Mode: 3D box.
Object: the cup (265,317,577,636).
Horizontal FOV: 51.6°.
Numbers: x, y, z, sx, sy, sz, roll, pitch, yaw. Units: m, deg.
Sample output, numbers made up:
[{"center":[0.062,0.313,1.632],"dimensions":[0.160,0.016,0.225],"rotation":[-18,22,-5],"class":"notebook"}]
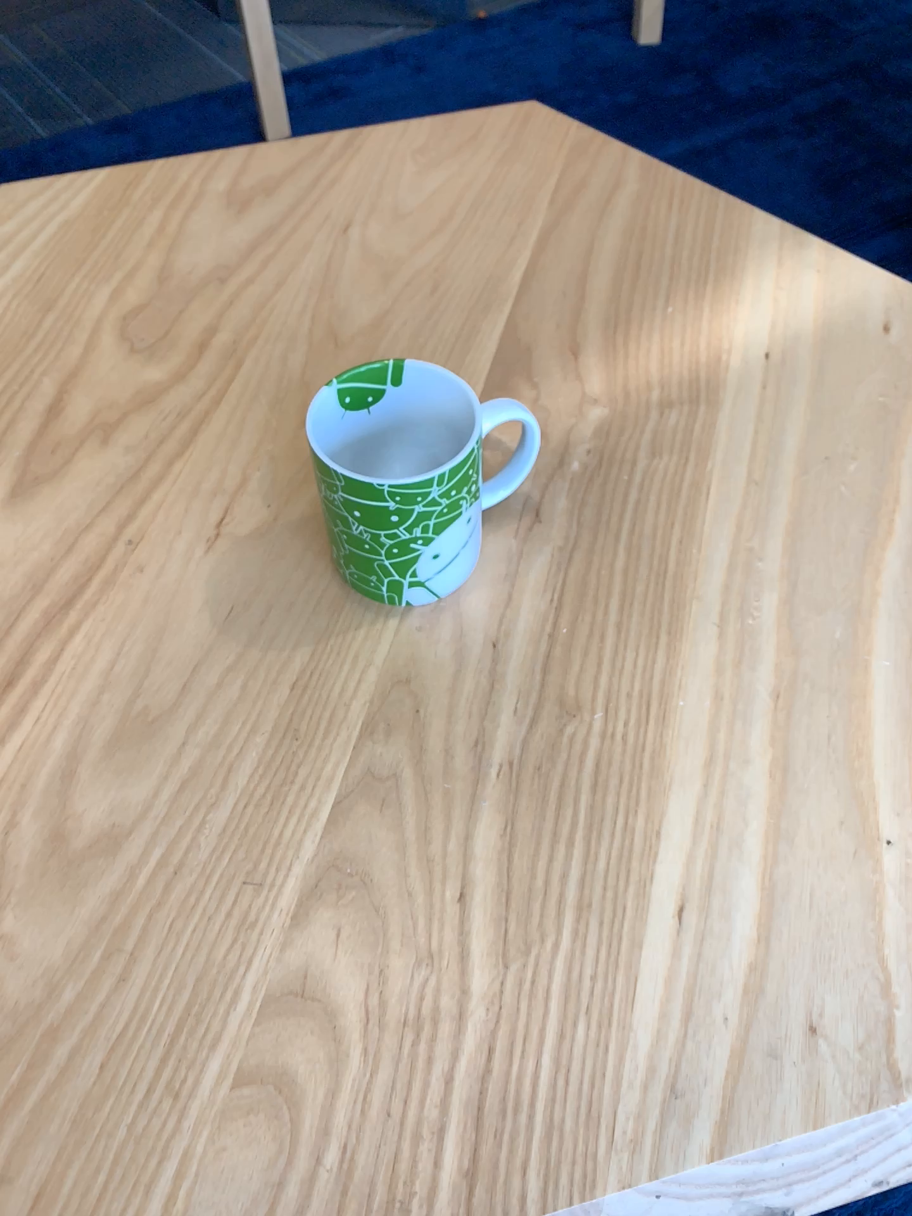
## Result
[{"center":[-0.016,-0.063,0.448],"dimensions":[0.110,0.080,0.090],"rotation":[-22,58,-13],"class":"cup"}]
